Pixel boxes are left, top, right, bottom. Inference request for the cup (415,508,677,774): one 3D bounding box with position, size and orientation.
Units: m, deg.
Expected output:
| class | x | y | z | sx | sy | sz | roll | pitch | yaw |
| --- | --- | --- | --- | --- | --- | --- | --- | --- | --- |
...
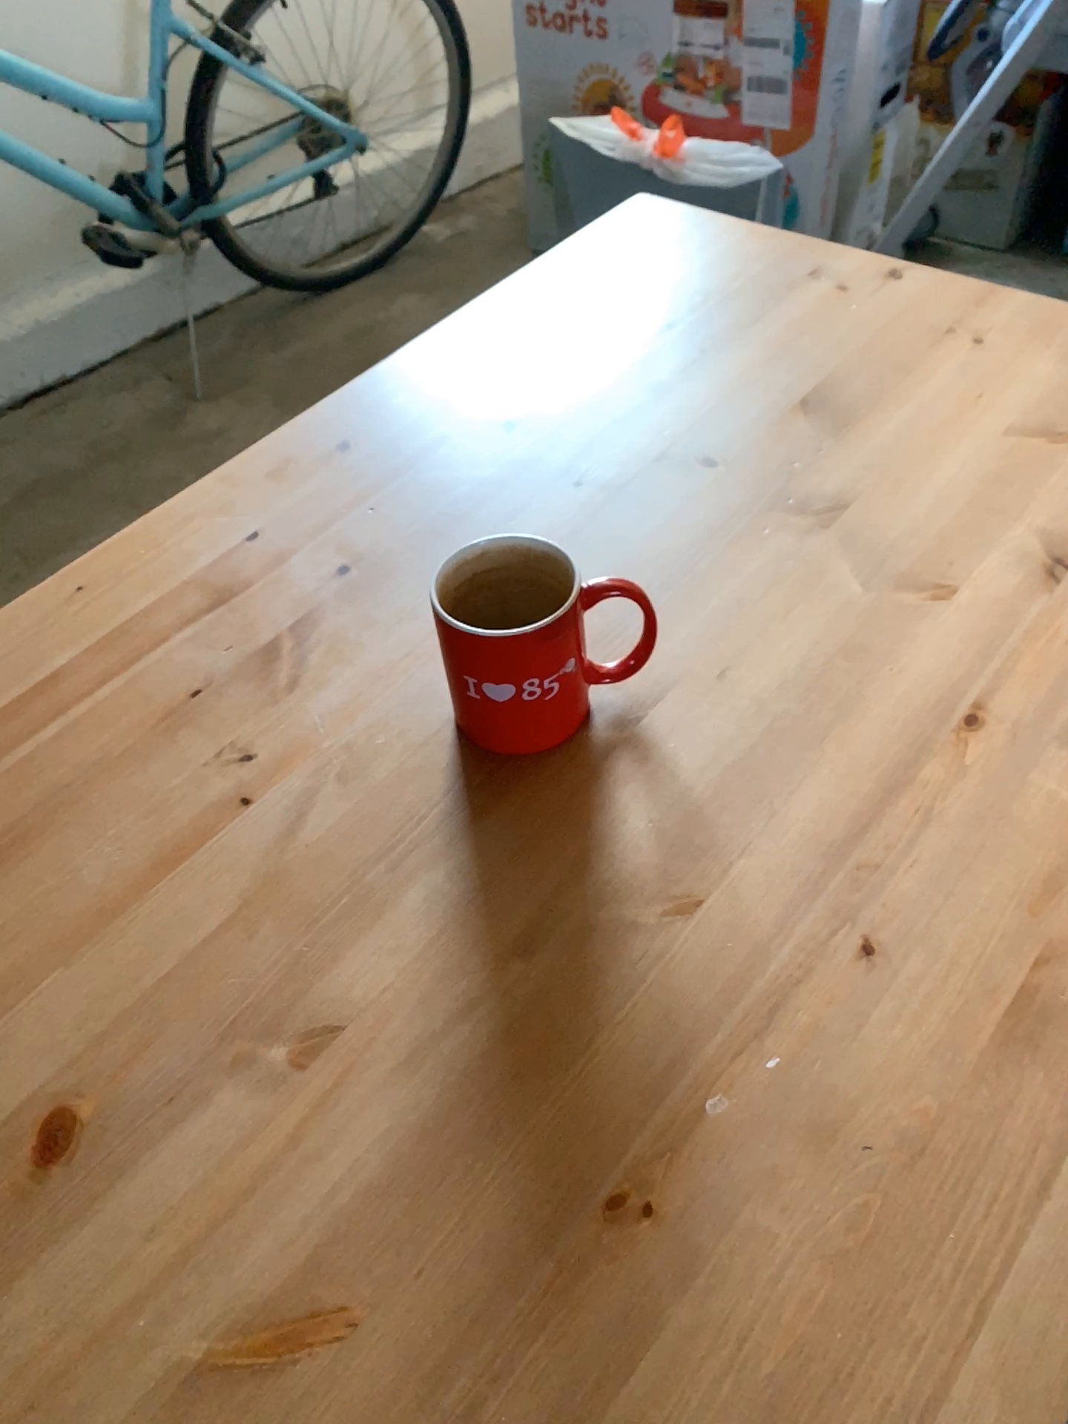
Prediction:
| class | x | y | z | sx | sy | sz | roll | pitch | yaw |
| --- | --- | --- | --- | --- | --- | --- | --- | --- | --- |
| cup | 0.006 | -0.039 | 0.612 | 0.130 | 0.090 | 0.100 | -6 | 49 | 1 |
